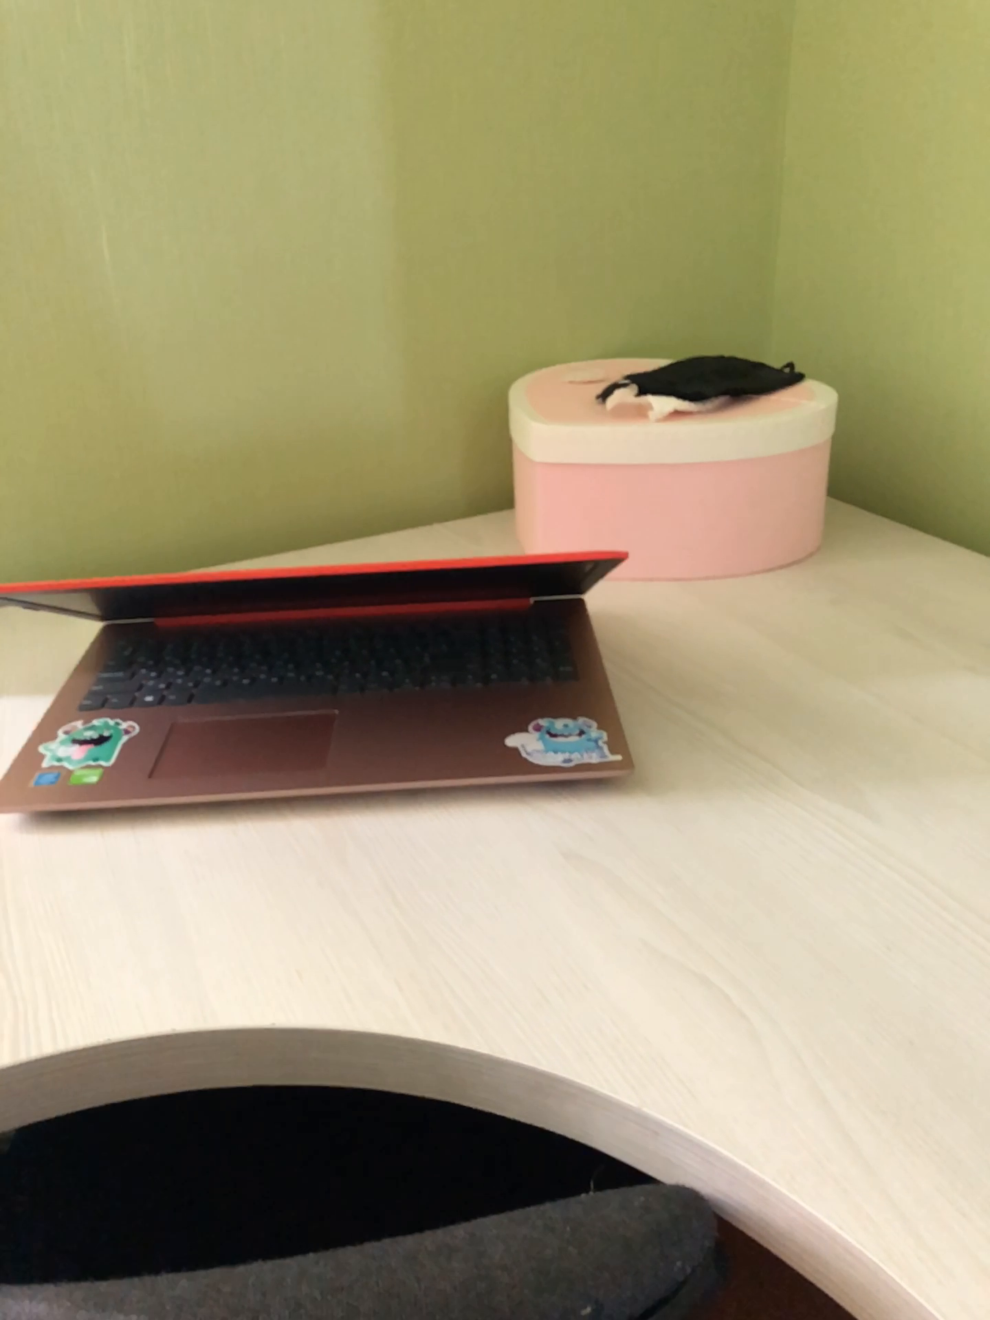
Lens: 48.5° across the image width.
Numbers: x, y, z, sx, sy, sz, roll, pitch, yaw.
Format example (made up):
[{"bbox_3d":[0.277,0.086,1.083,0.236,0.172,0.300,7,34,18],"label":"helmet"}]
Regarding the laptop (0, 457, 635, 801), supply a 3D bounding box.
[{"bbox_3d":[-0.111,-0.033,0.714,0.366,0.112,0.233,-3,27,-1],"label":"laptop"}]
